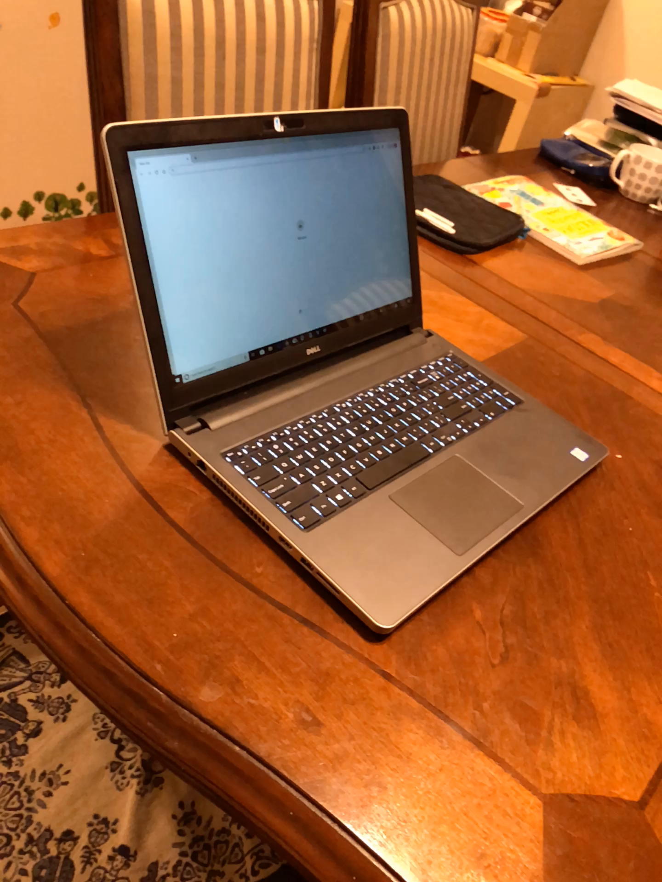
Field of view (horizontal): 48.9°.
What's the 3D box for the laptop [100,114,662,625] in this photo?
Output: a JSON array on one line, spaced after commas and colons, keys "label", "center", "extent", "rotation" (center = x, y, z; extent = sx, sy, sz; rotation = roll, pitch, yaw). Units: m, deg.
[{"label": "laptop", "center": [0.060, -0.111, 0.655], "extent": [0.370, 0.212, 0.360], "rotation": [-26, 55, -40]}]
